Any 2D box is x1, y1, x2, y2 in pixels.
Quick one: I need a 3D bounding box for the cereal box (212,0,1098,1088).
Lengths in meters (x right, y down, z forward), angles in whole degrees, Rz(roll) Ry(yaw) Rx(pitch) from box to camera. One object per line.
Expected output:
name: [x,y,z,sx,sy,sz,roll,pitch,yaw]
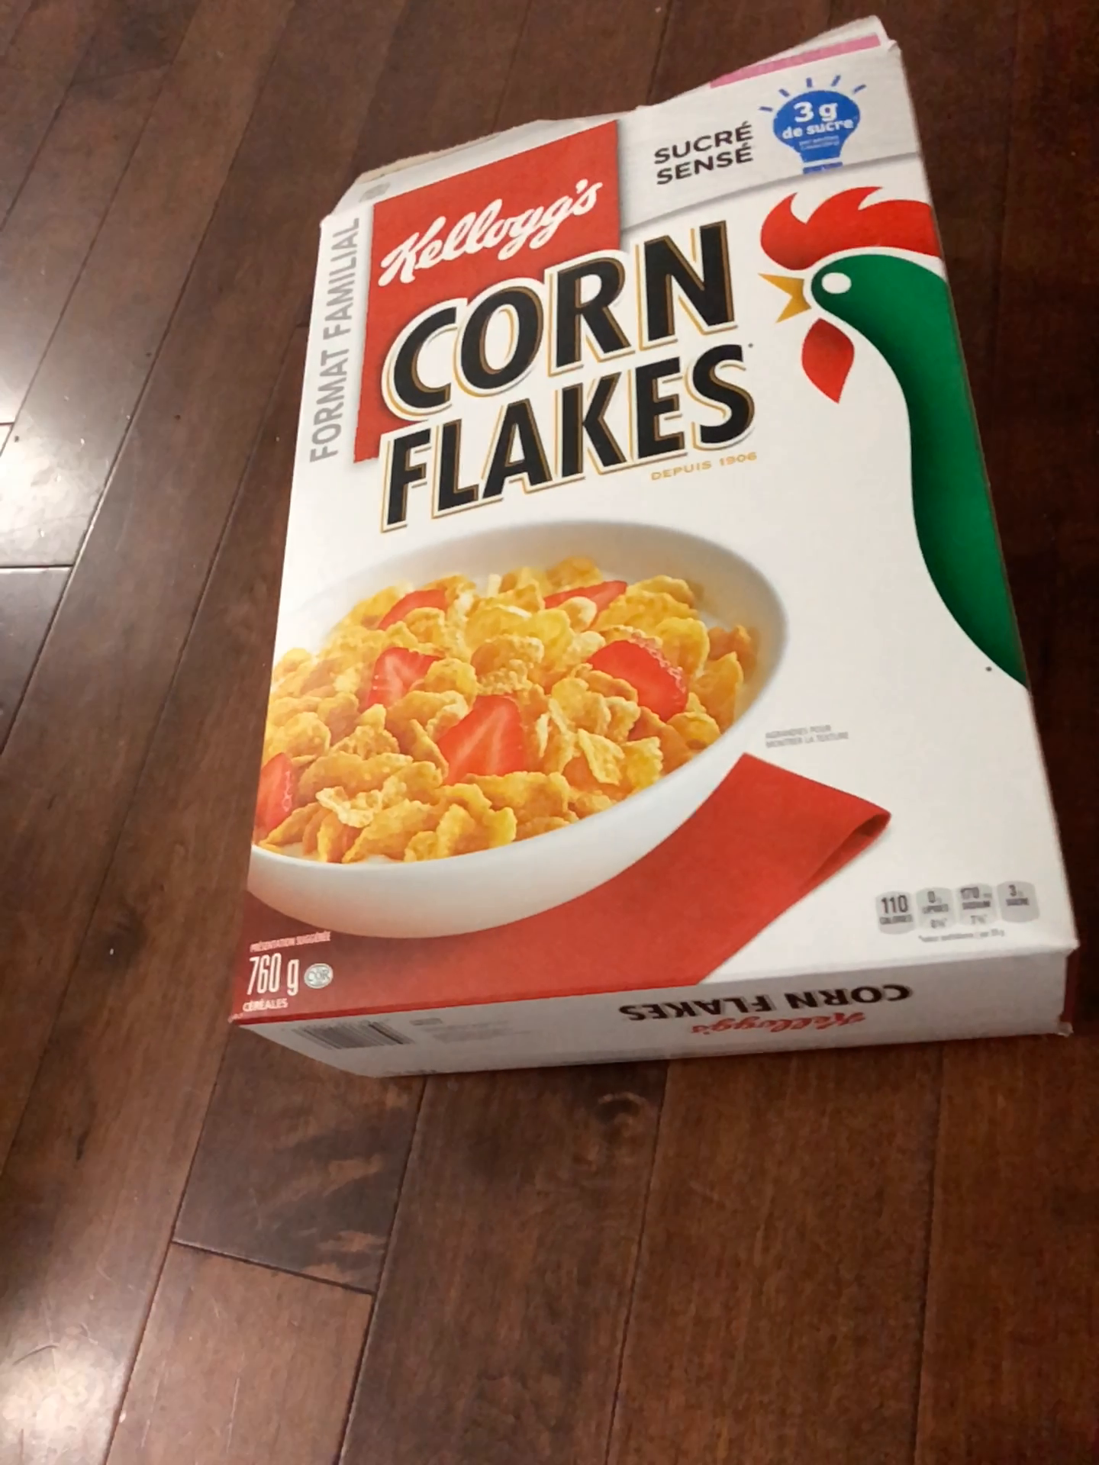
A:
cereal box: [0.035,-0.077,0.452,0.260,0.090,0.380,-9,63,18]
